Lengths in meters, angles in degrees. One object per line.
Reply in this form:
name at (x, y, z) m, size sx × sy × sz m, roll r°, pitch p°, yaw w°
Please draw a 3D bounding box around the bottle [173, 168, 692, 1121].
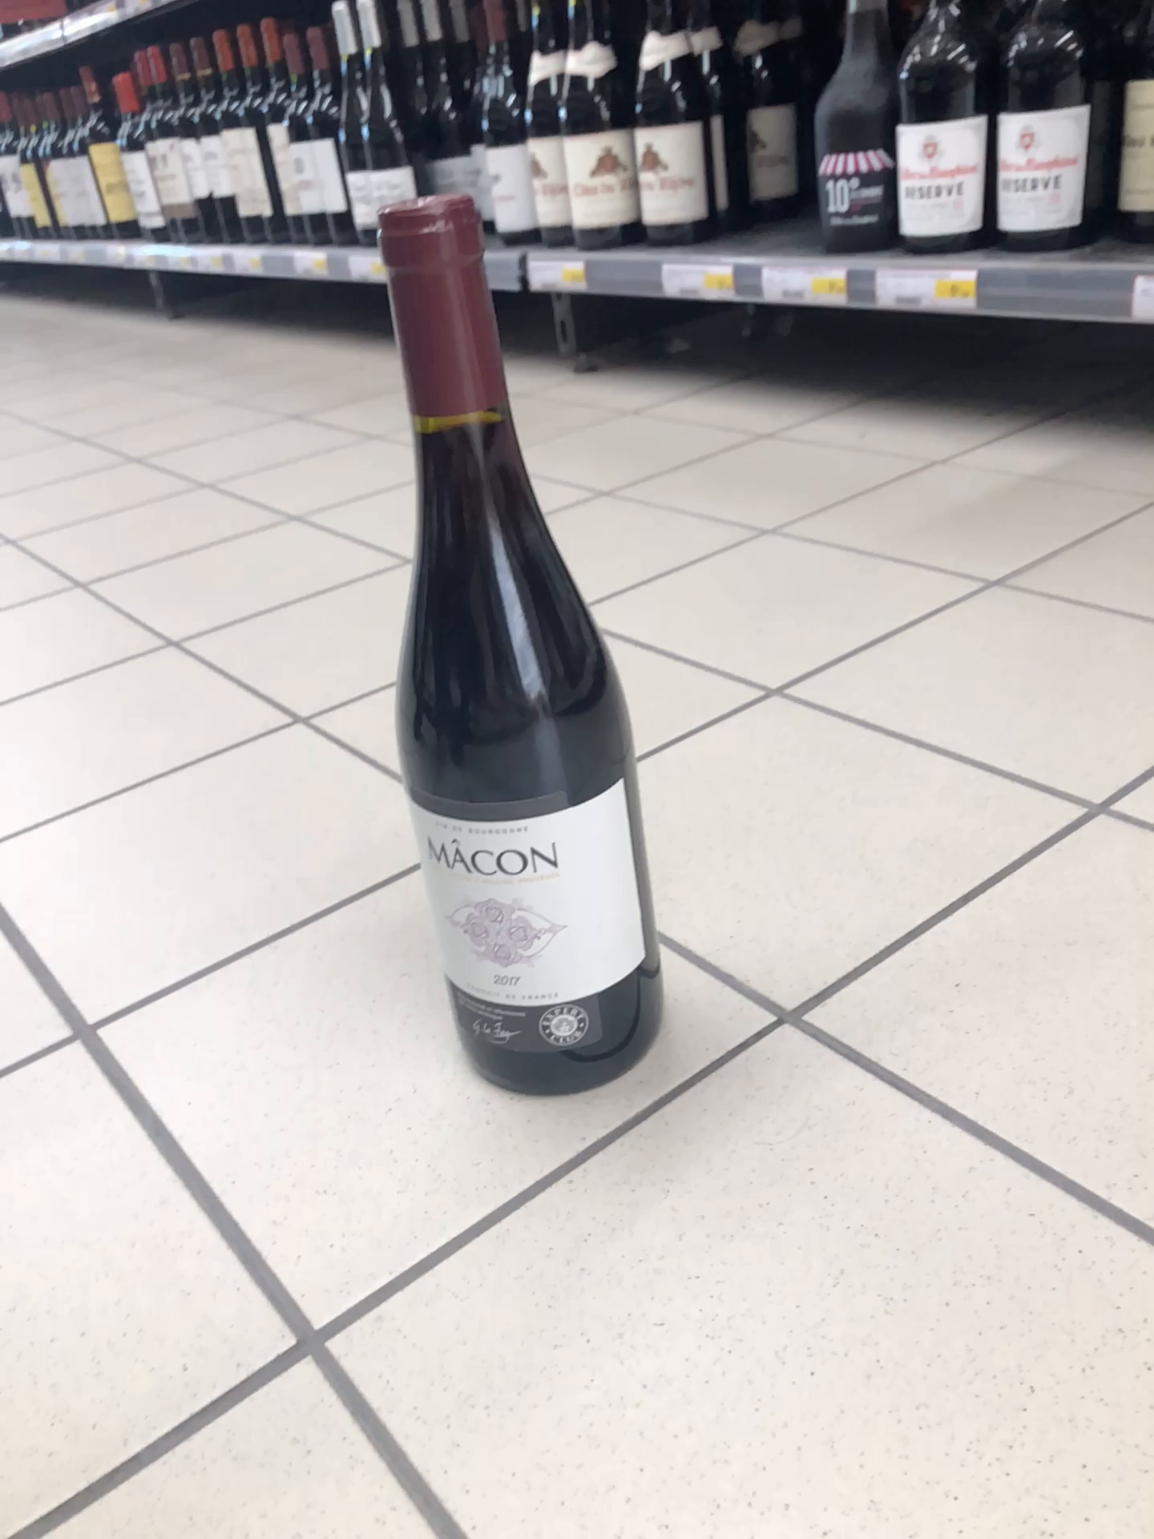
bottle at (-0.032, -0.033, 0.424) m, size 0.090 × 0.288 × 0.091 m, roll -6°, pitch 26°, yaw 3°
